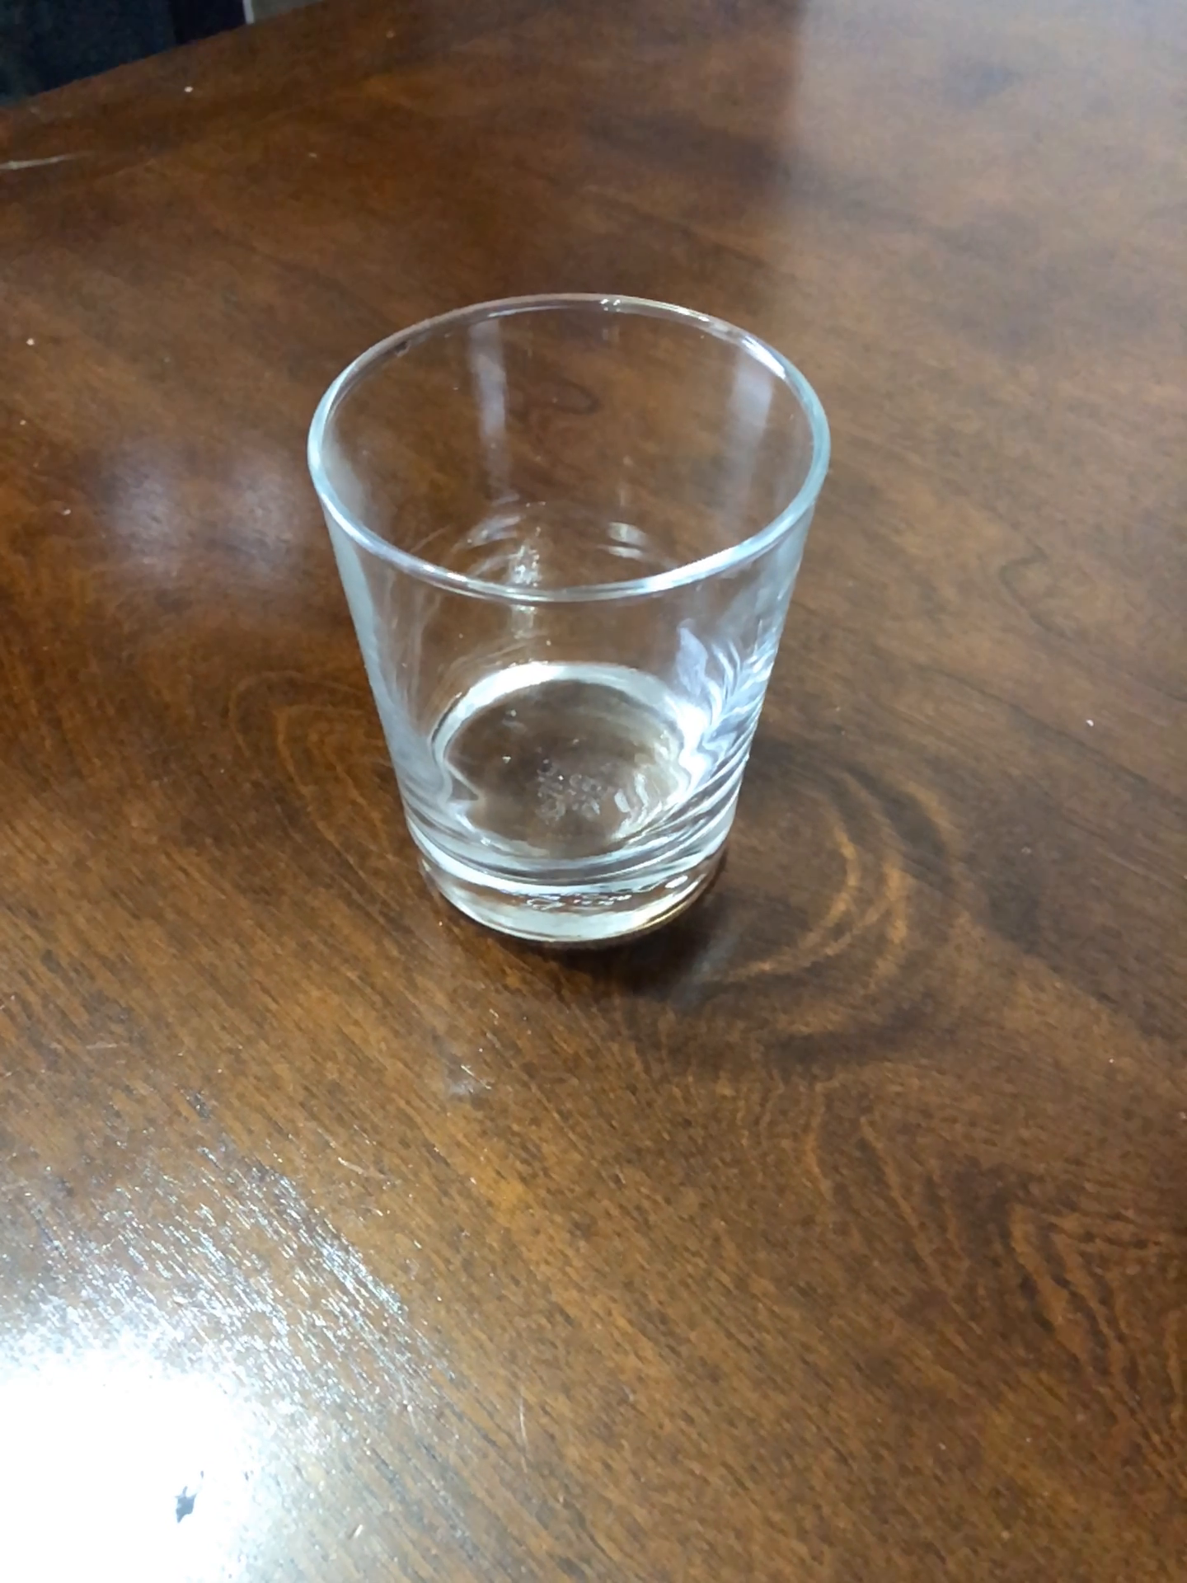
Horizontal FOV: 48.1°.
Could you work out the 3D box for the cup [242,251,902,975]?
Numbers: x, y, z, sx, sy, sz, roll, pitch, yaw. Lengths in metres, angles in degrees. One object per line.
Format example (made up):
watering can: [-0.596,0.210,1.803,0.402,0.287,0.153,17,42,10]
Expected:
cup: [0.000,-0.032,0.244,0.090,0.090,0.090,0,48,0]
